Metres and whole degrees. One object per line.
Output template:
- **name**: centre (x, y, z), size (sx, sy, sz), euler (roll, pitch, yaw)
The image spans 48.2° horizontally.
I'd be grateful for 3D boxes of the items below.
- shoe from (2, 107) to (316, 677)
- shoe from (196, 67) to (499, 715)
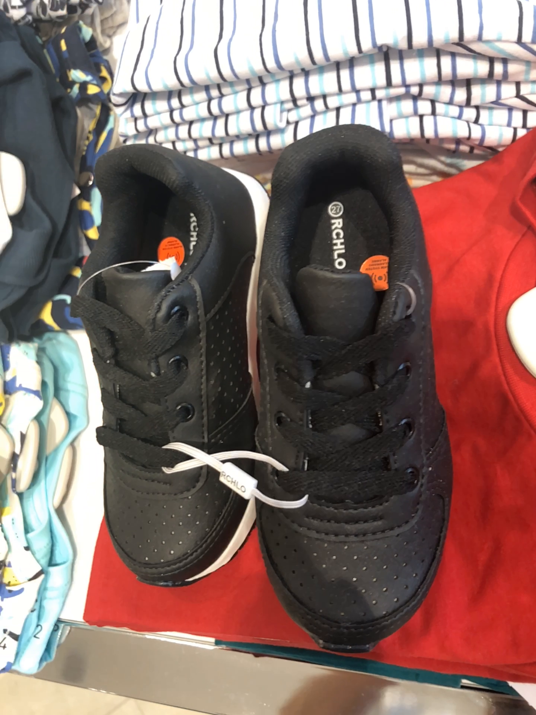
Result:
- **shoe**: centre (-0.033, 0.009, 0.237), size (0.080, 0.080, 0.180), euler (3, 83, 13)
- **shoe**: centre (0.028, 0.010, 0.220), size (0.080, 0.086, 0.190), euler (-1, 79, 9)
